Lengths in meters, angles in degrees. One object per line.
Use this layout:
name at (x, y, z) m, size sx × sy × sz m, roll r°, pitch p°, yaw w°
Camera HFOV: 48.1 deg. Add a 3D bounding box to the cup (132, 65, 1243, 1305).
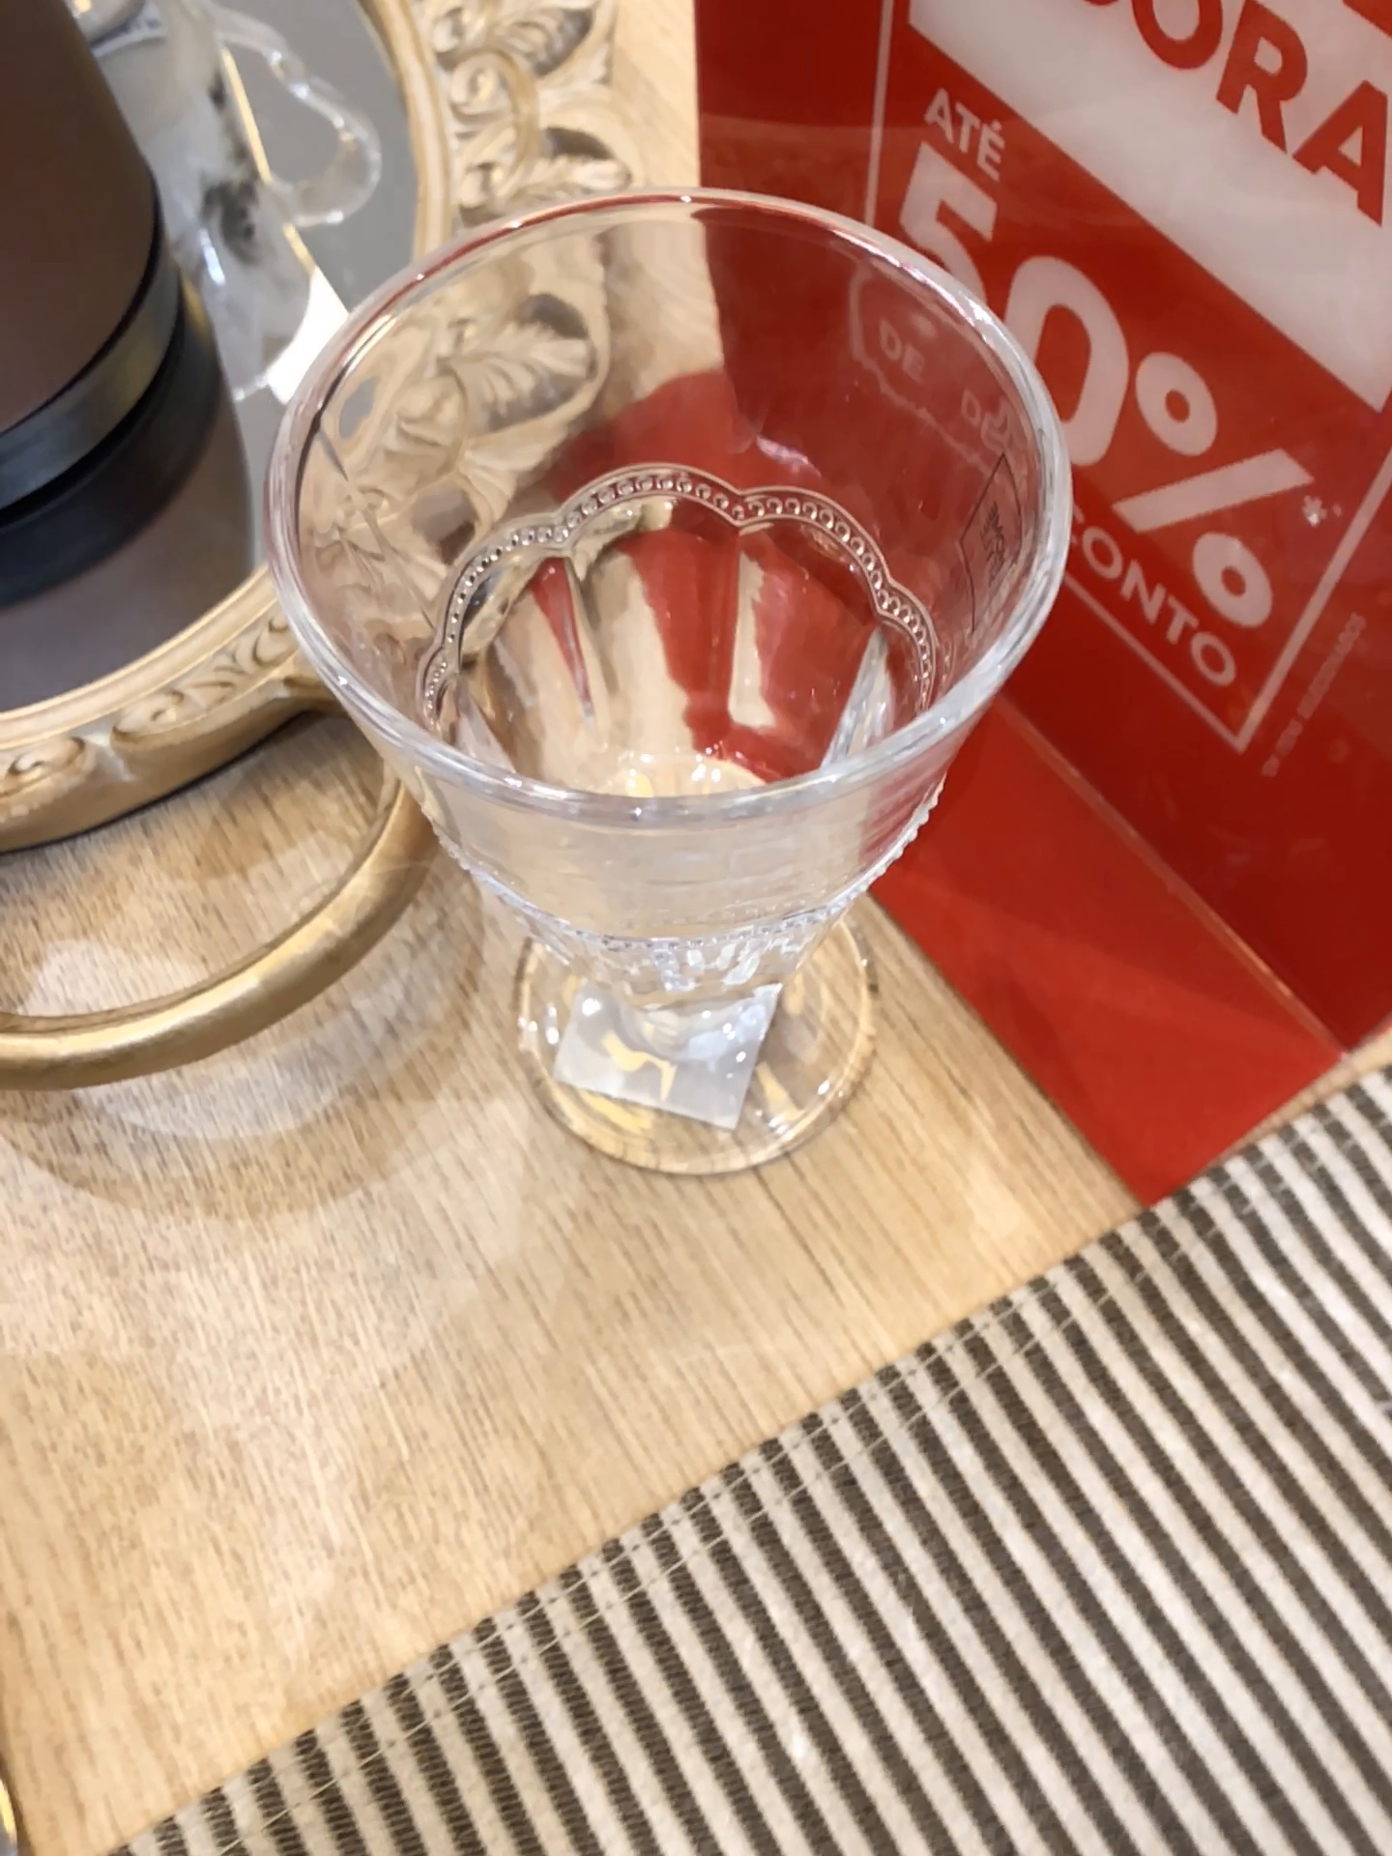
cup at (-0.002, -0.018, 0.214) m, size 0.080 × 0.139 × 0.080 m, roll -1°, pitch 64°, yaw 2°
